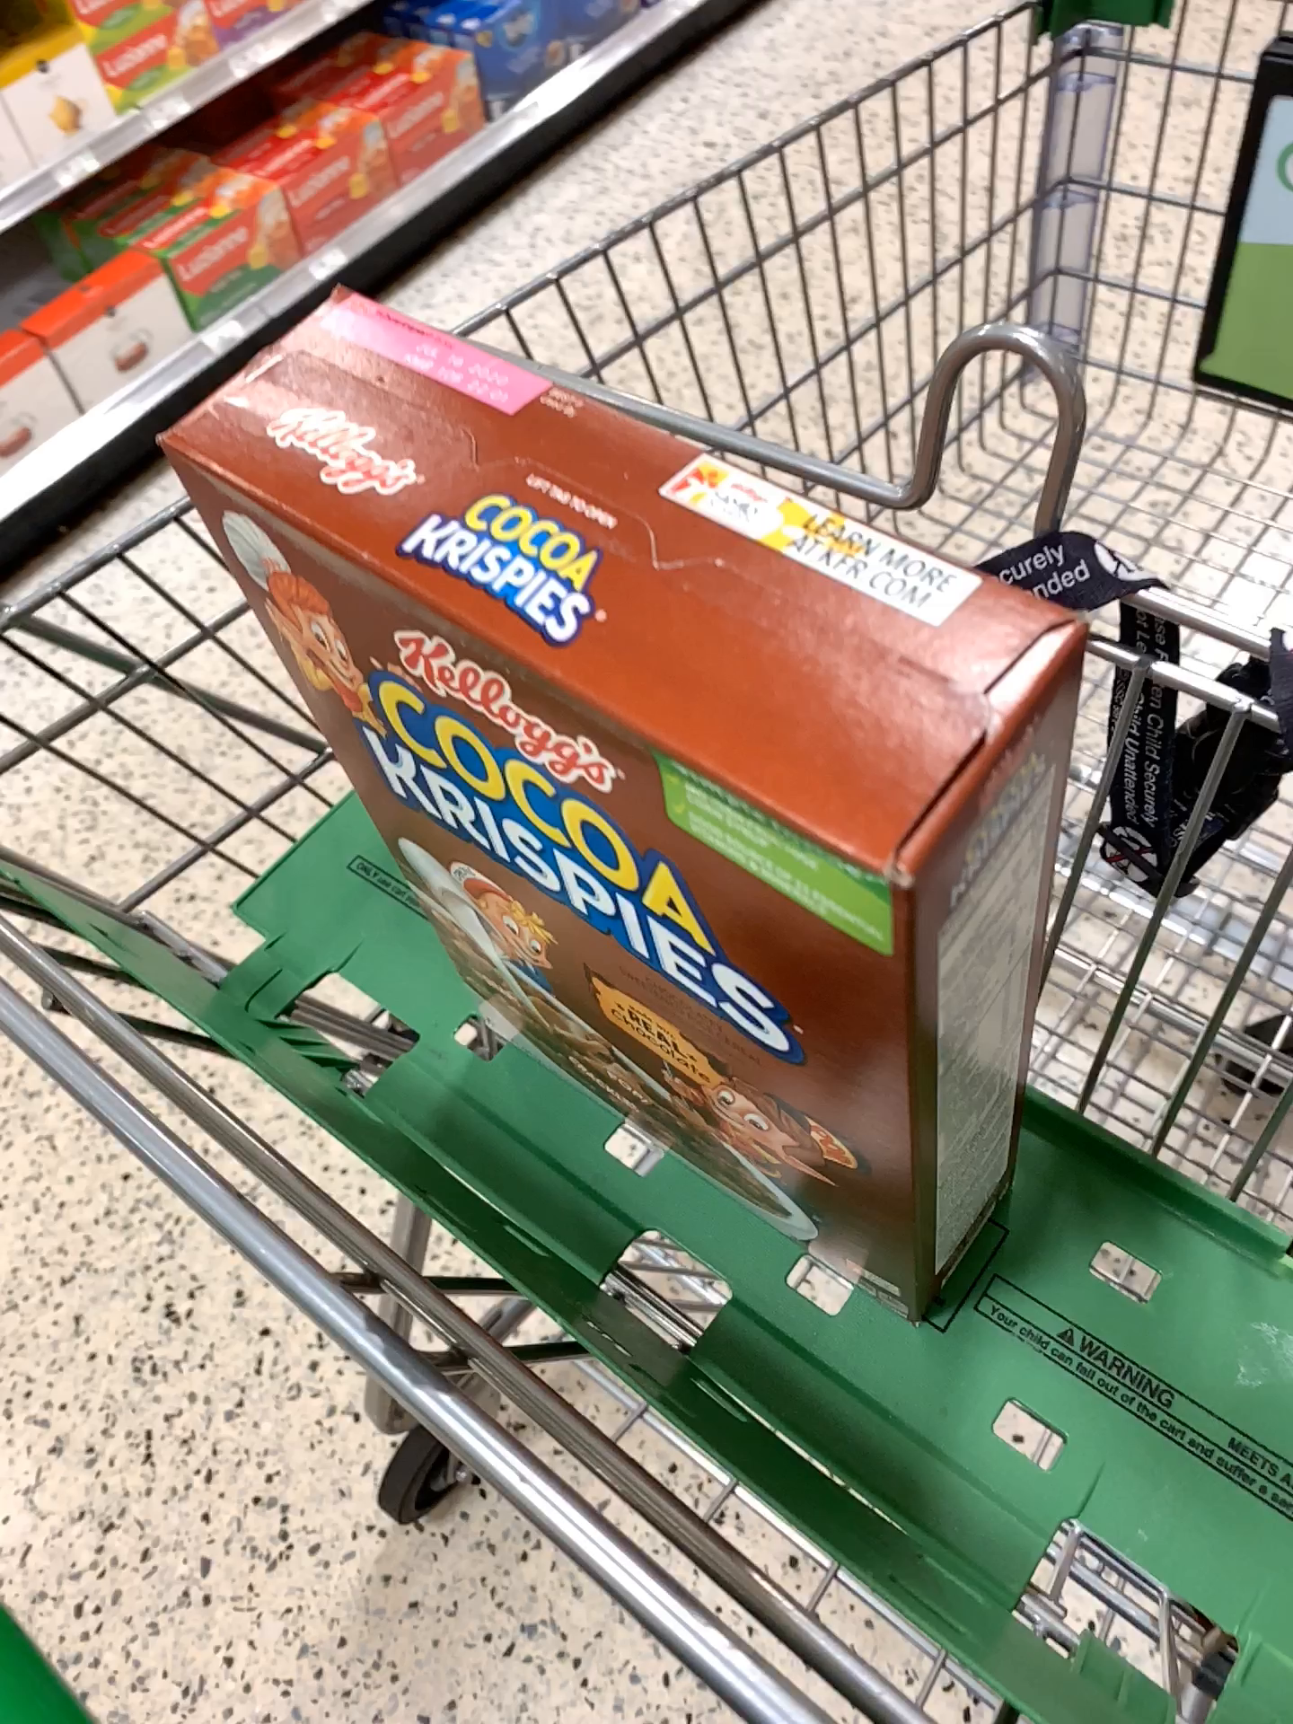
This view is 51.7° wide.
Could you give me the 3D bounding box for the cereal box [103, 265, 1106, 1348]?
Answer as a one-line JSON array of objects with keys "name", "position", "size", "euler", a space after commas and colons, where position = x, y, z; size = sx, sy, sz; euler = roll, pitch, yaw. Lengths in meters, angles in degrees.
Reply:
[{"name": "cereal box", "position": [0.007, 0.013, 0.375], "size": [0.201, 0.307, 0.060], "euler": [32, 70, 28]}]
